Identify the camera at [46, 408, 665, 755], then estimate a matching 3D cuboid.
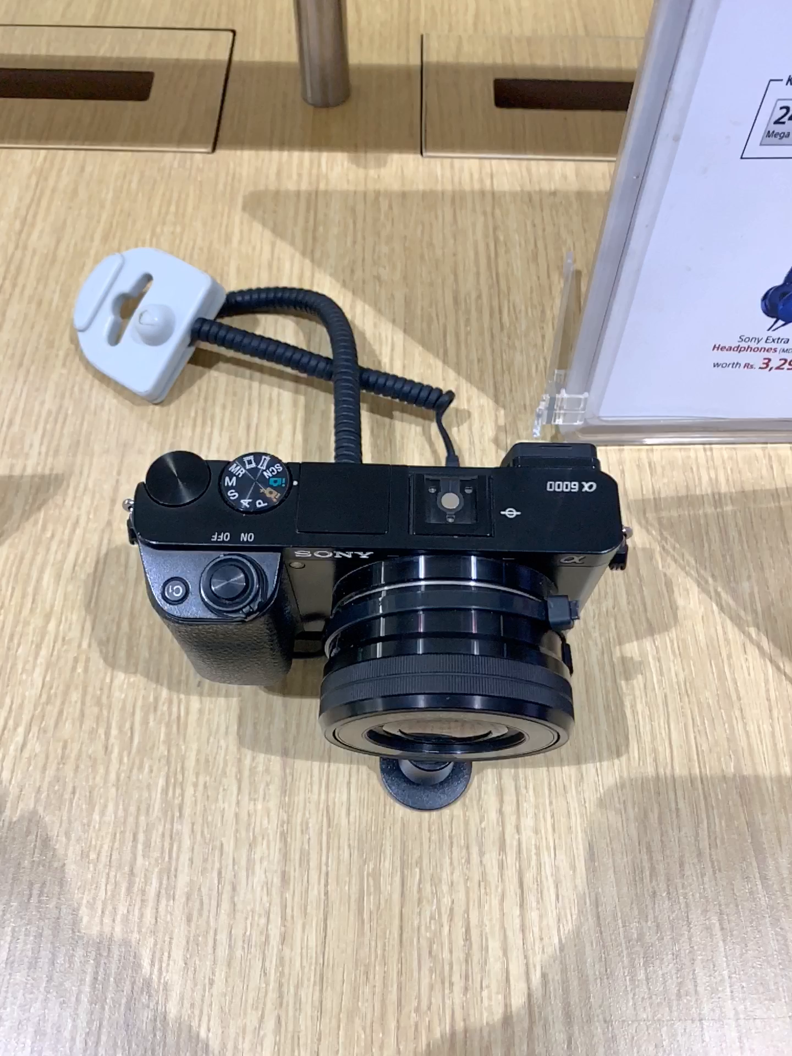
[{"bbox_3d":[-0.009,0.018,0.219,0.130,0.070,0.070,0,62,0],"label":"camera"}]
